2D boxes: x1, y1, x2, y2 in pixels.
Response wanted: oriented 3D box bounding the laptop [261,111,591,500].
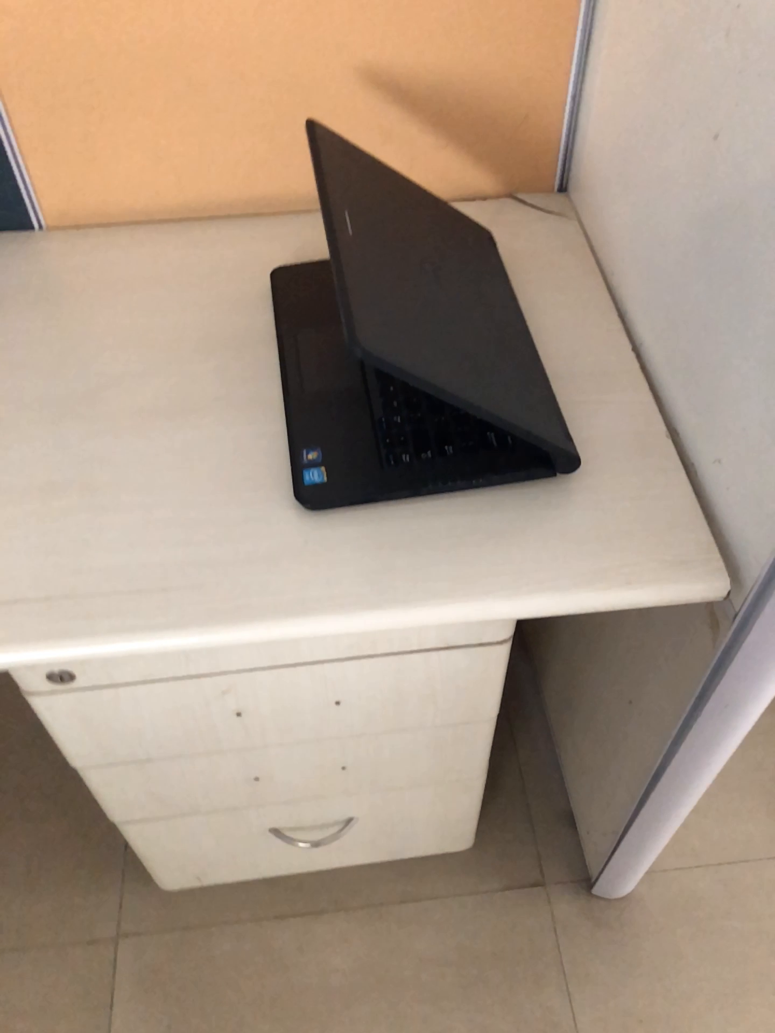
[{"bbox_3d":[0.014,-0.198,0.748,0.215,0.154,0.319,-7,50,-5],"label":"laptop"}]
